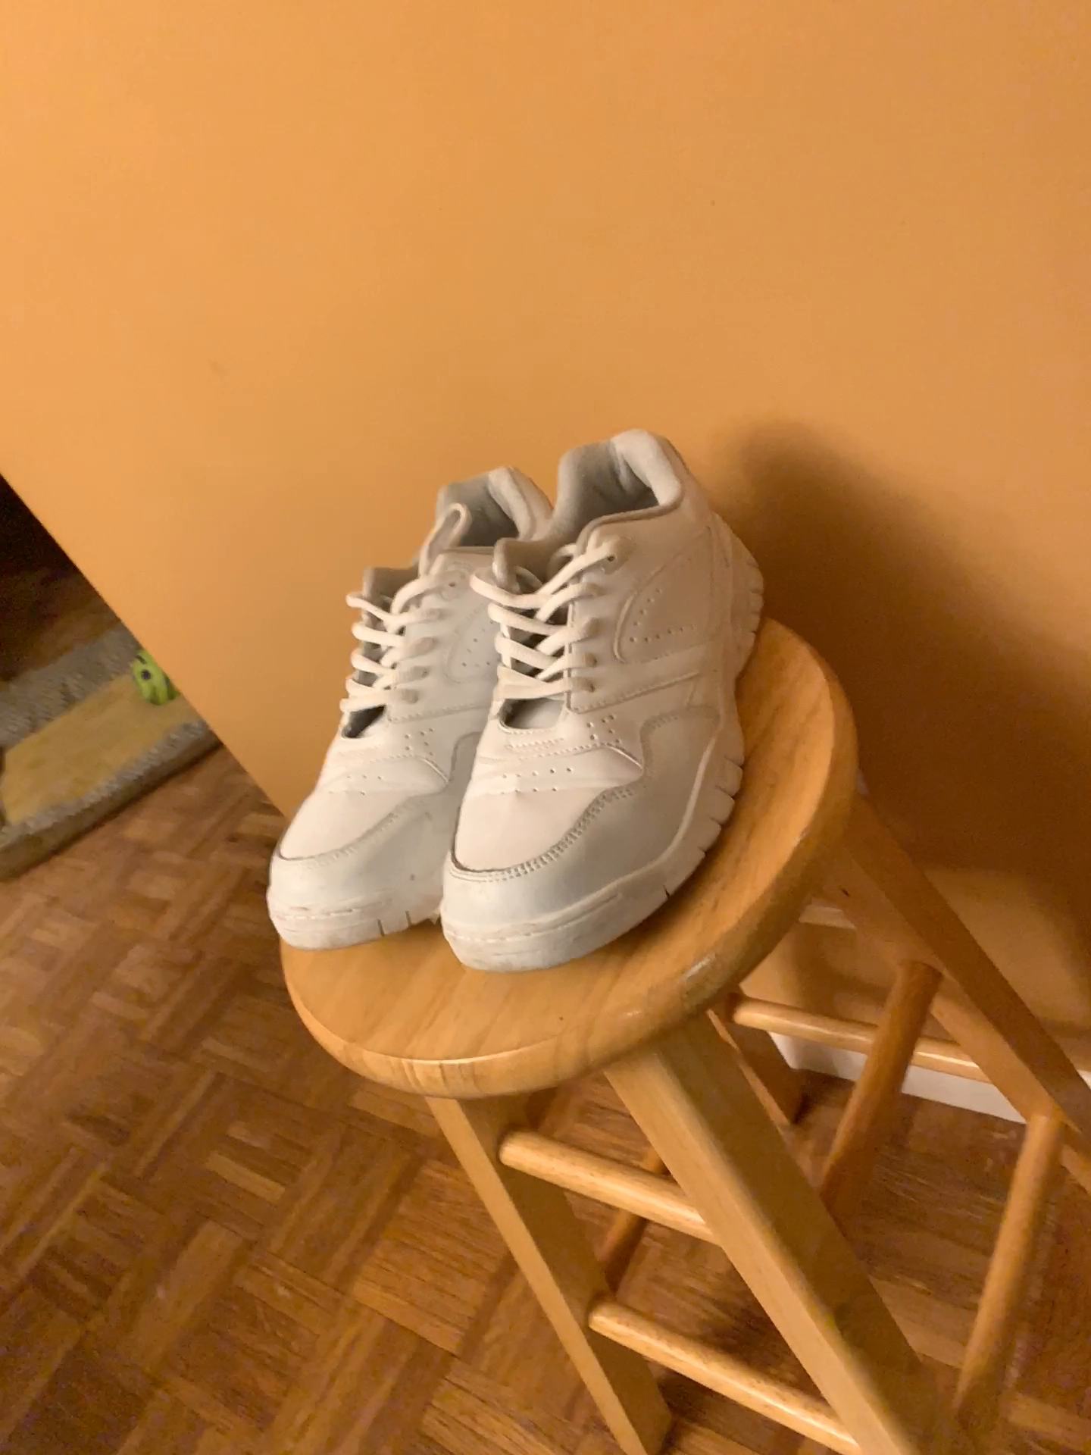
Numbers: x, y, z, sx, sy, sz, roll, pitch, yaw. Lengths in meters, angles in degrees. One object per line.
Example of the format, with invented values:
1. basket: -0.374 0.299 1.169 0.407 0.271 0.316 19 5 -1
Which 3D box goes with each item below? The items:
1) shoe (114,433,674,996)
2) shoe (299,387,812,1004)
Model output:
1. shoe: -0.059 -0.017 0.565 0.130 0.109 0.271 -3 42 37
2. shoe: 0.025 -0.023 0.502 0.120 0.109 0.271 -9 38 31
